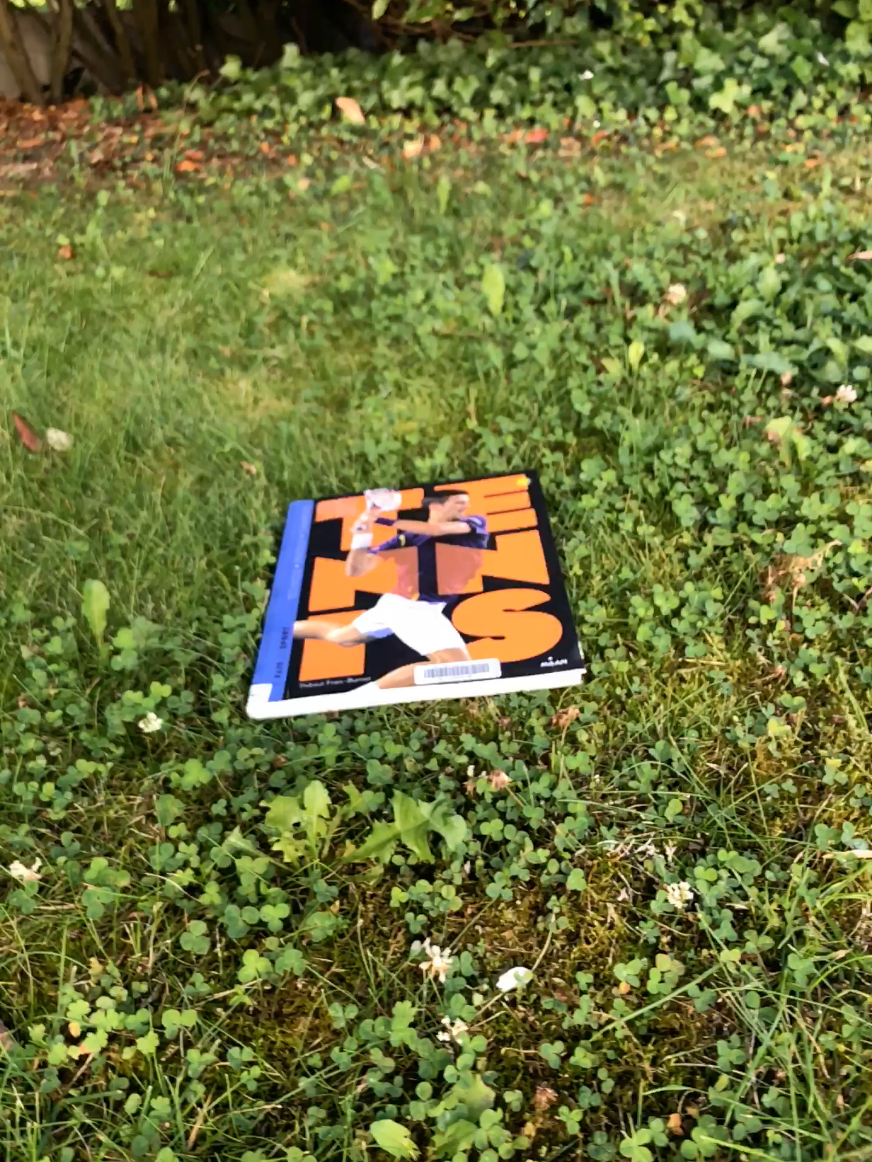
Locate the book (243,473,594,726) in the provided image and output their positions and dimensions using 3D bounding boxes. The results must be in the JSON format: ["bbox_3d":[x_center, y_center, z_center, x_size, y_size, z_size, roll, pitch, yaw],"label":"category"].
[{"bbox_3d":[-0.014,0.000,0.648,0.198,0.016,0.241,-5,33,1],"label":"book"}]
